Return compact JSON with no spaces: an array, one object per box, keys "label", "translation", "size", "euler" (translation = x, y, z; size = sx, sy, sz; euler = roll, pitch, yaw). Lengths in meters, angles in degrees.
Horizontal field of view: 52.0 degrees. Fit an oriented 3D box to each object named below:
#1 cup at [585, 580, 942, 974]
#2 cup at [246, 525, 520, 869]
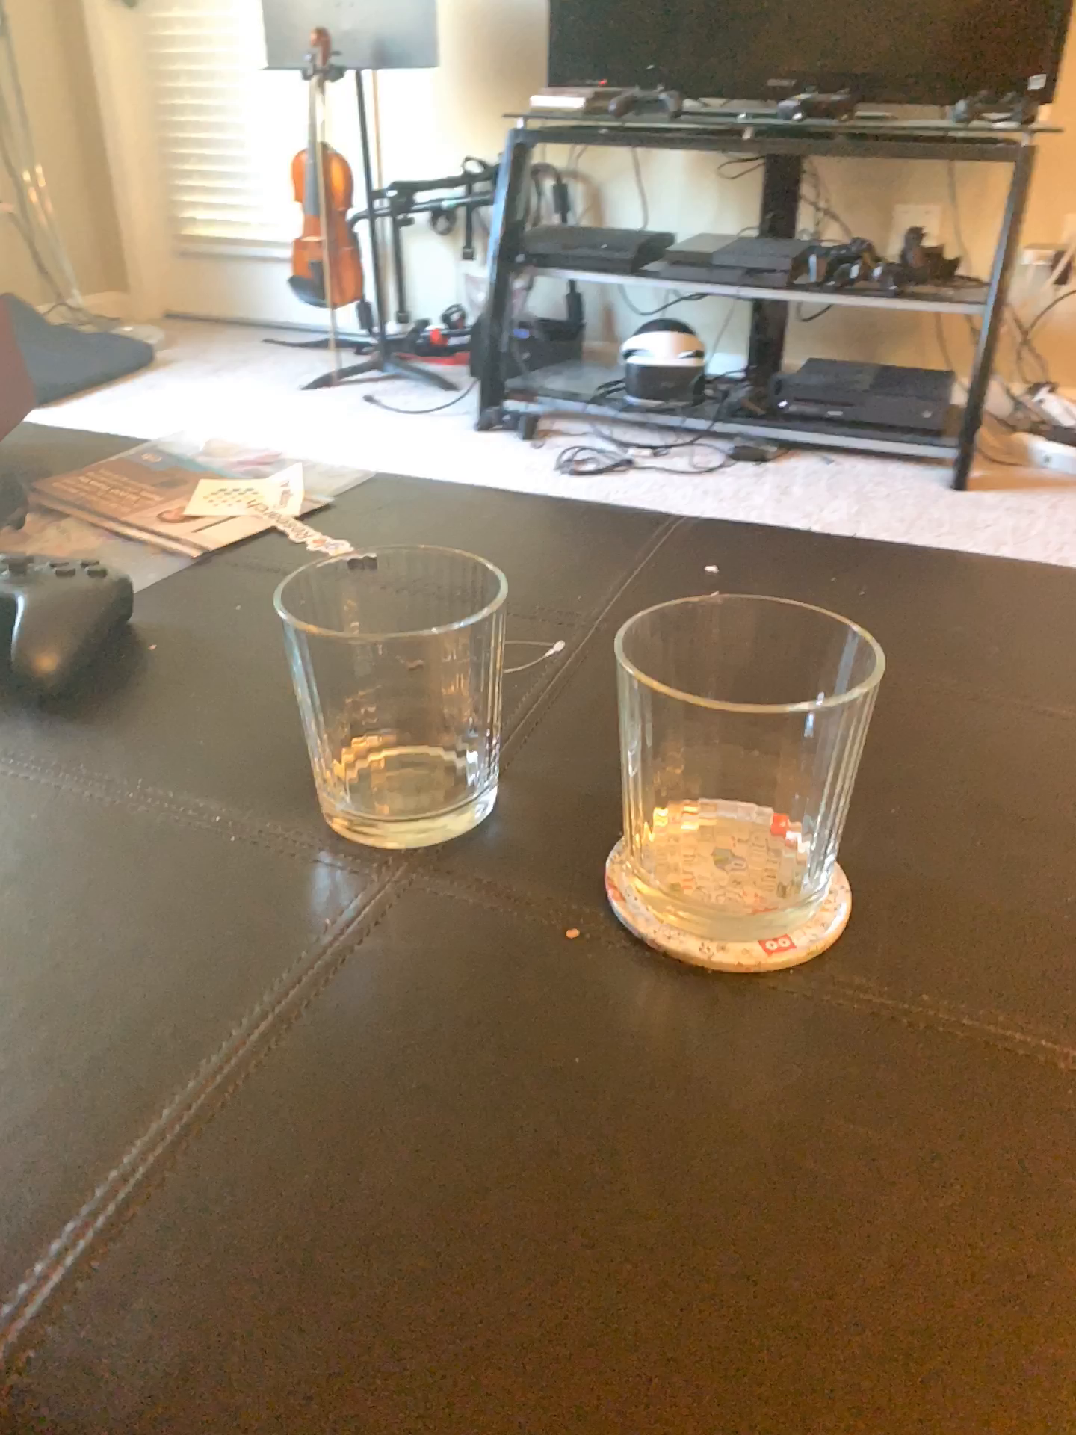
[{"label":"cup","translation":[0.079,0.018,0.412],"size":[0.090,0.099,0.080],"euler":[-16,34,-26]},{"label":"cup","translation":[-0.062,-0.012,0.452],"size":[0.080,0.099,0.080],"euler":[0,30,0]}]
